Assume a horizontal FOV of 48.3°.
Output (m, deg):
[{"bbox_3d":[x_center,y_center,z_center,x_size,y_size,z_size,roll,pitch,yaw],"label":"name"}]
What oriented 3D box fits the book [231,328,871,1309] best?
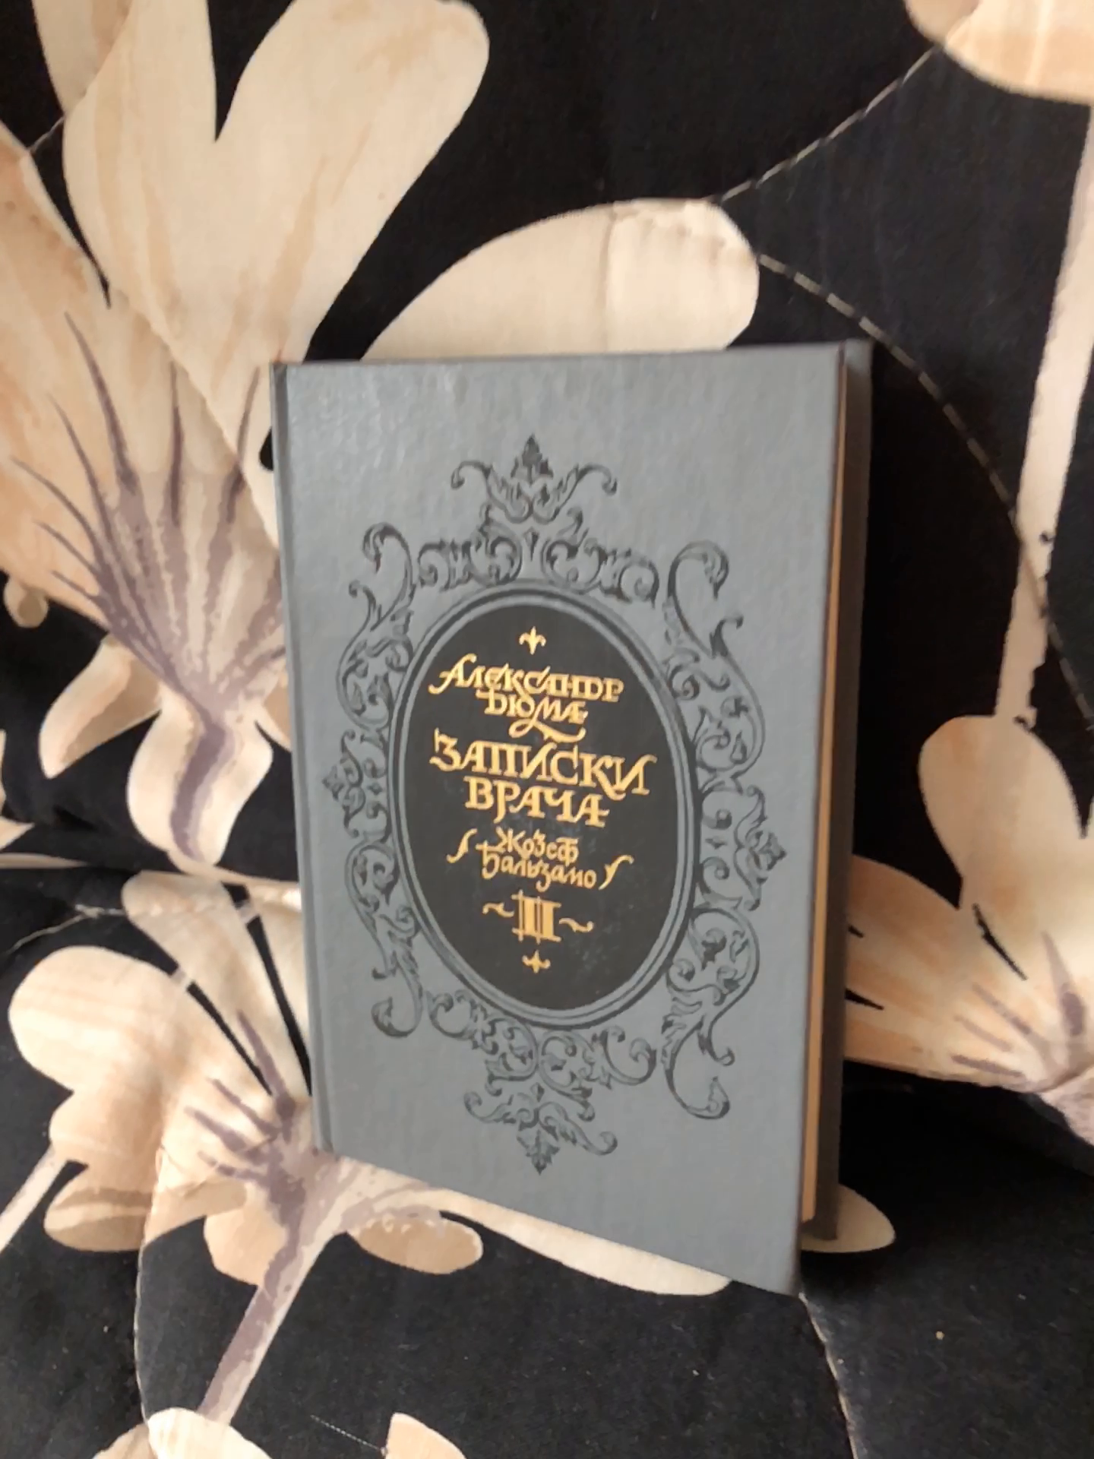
[{"bbox_3d":[-0.003,0.017,0.289,0.140,0.030,0.206,7,106,27],"label":"book"}]
